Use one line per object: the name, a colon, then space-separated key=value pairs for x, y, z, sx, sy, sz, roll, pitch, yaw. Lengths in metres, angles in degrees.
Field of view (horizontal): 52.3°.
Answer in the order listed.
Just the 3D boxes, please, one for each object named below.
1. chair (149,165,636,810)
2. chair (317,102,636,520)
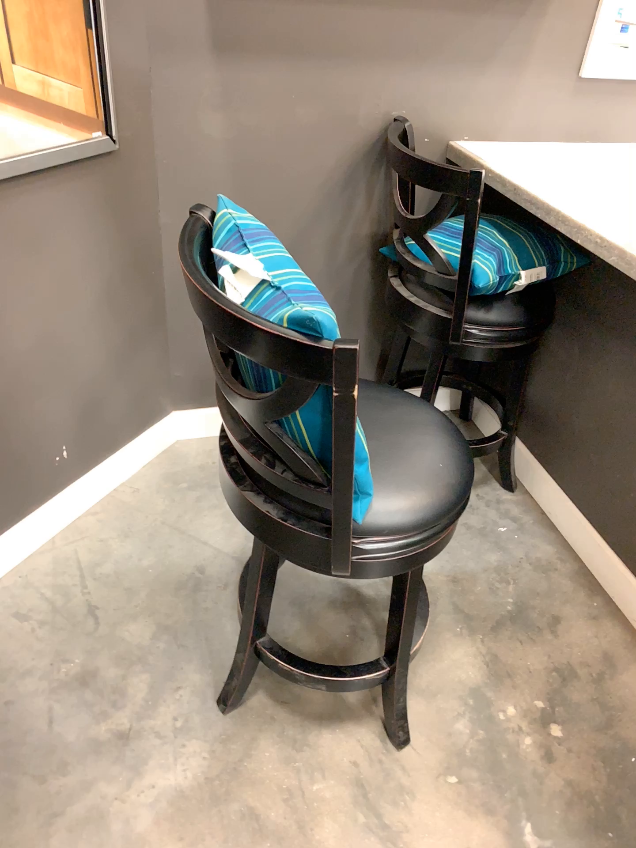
chair: x=0.064 y=0.103 z=1.115 sx=0.596 sy=0.903 sz=0.538 roll=-6 pitch=38 yaw=-15
chair: x=0.394 y=-0.298 z=1.757 sx=0.596 sy=0.923 sz=0.538 roll=-6 pitch=38 yaw=-15
